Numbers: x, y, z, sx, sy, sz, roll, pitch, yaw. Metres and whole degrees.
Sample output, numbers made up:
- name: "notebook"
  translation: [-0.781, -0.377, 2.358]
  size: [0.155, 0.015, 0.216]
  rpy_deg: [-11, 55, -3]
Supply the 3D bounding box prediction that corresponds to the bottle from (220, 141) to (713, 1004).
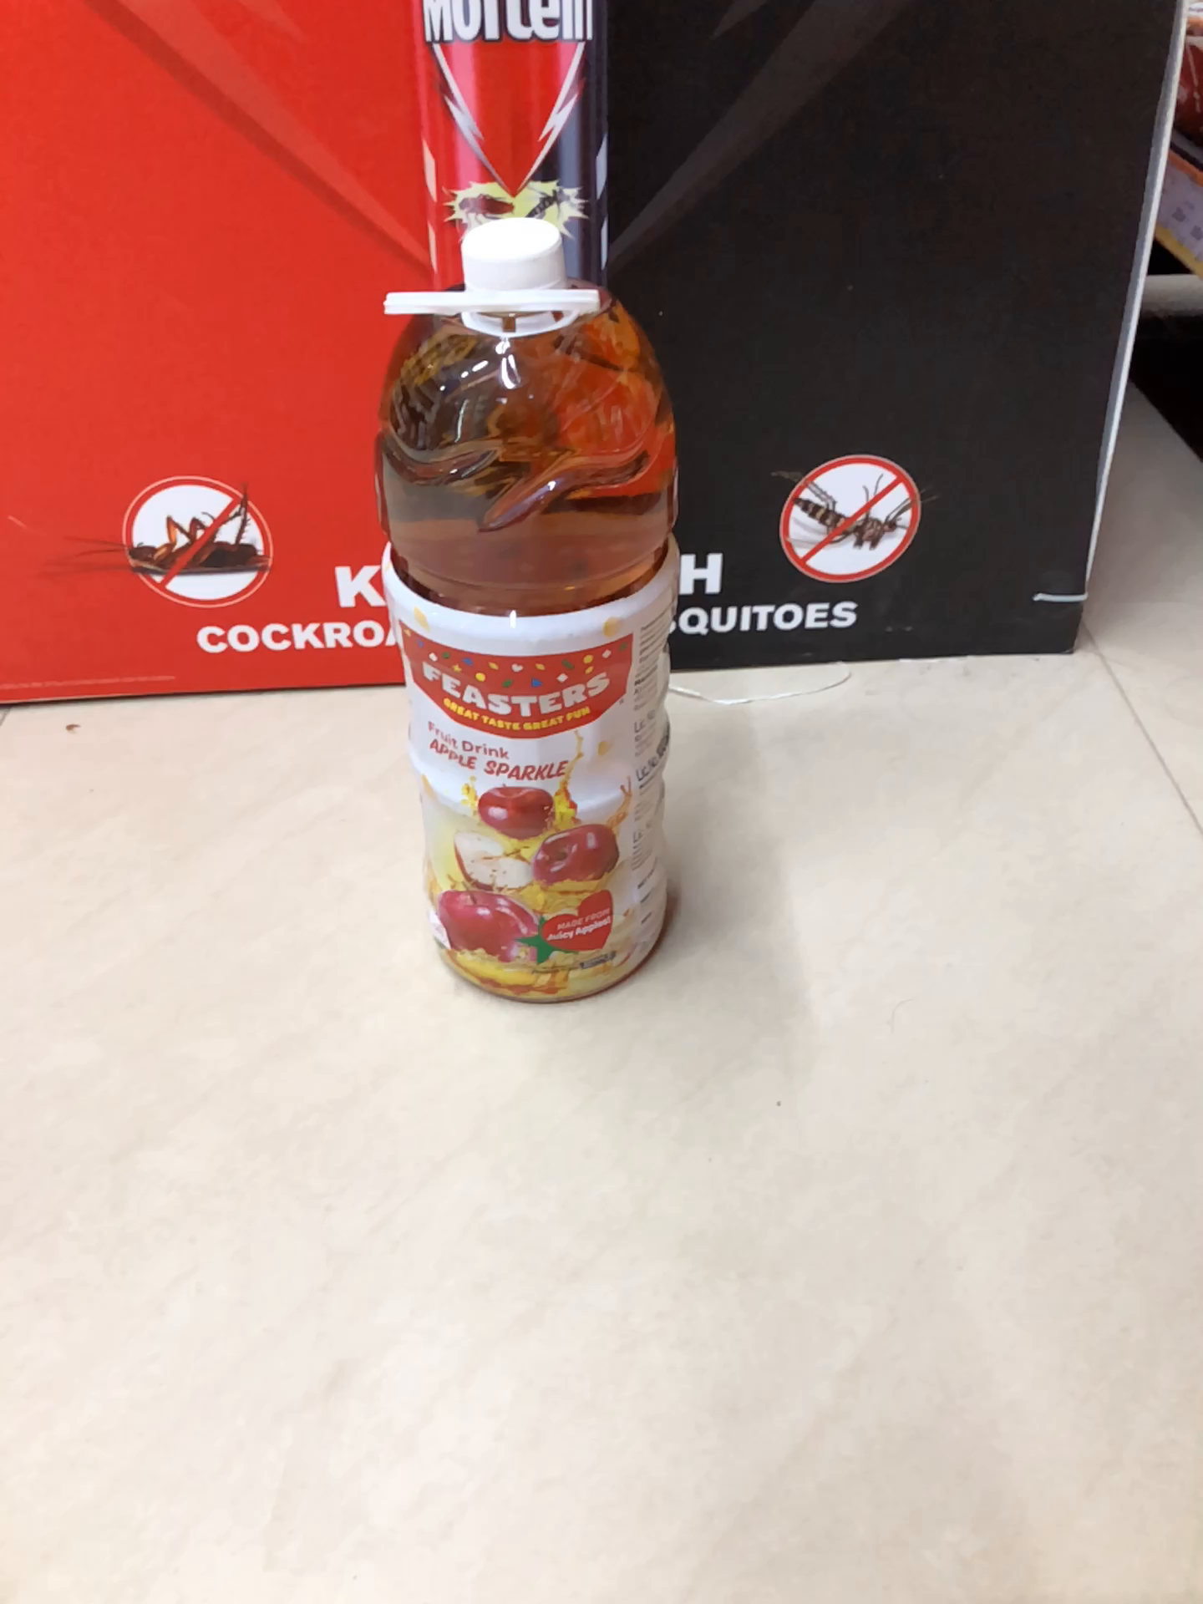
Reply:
- name: "bottle"
  translation: [-0.034, -0.067, 0.470]
  size: [0.120, 0.278, 0.101]
  rpy_deg: [7, 41, 7]
